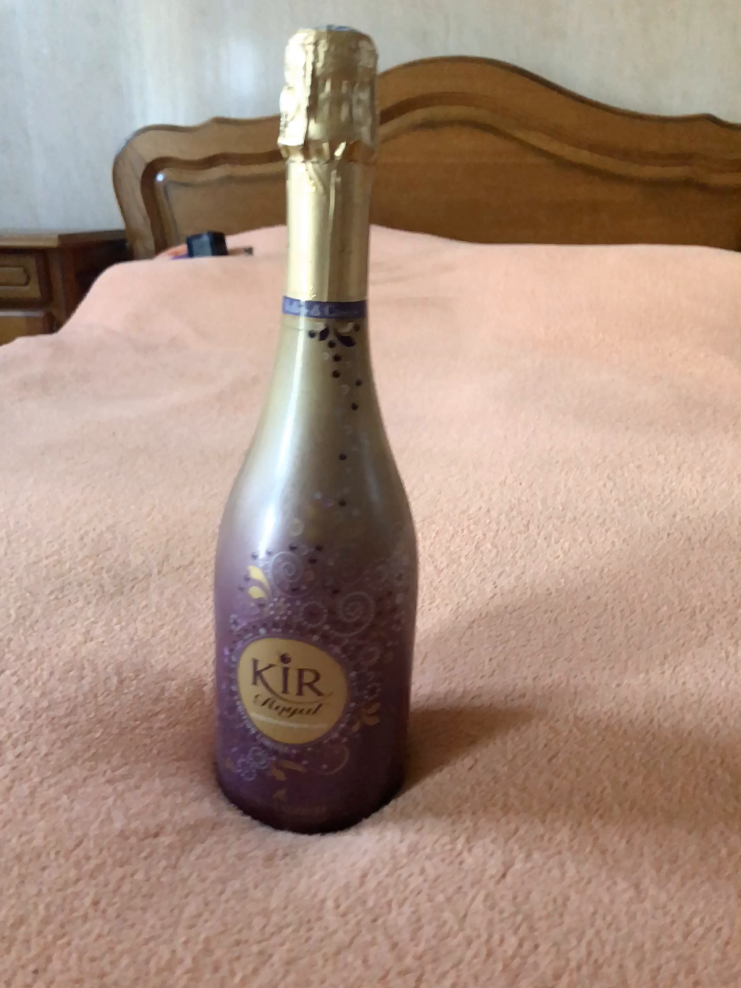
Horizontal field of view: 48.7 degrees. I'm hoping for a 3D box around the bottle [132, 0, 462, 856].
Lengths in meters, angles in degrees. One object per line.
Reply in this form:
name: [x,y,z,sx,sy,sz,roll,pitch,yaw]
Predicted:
bottle: [-0.025,-0.019,0.332,0.090,0.309,0.090,2,19,-1]
